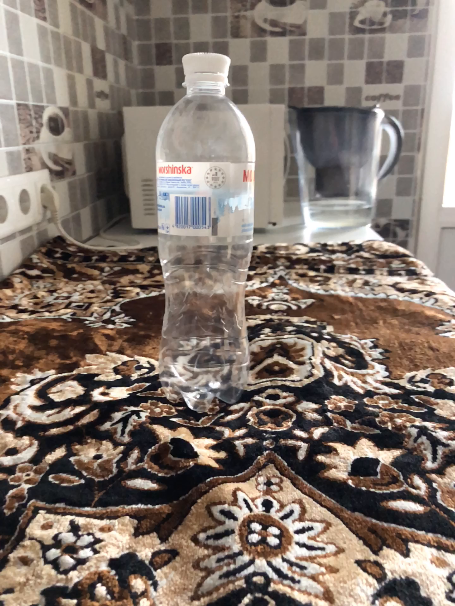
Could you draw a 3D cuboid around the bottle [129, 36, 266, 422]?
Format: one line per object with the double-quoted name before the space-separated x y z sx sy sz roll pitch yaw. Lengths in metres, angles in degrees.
"bottle" -0.018 -0.048 0.369 0.080 0.249 0.090 1 16 1
